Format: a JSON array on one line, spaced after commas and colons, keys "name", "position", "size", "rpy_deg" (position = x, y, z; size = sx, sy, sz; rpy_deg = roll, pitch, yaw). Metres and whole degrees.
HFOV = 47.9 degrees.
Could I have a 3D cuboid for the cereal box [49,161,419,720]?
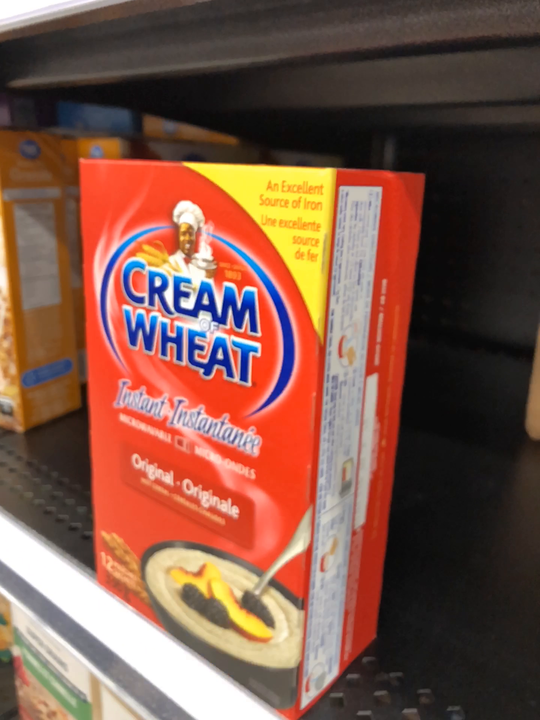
[{"name": "cereal box", "position": [-0.021, 0.018, 0.251], "size": [0.130, 0.189, 0.060], "rpy_deg": [15, 22, 37]}]
